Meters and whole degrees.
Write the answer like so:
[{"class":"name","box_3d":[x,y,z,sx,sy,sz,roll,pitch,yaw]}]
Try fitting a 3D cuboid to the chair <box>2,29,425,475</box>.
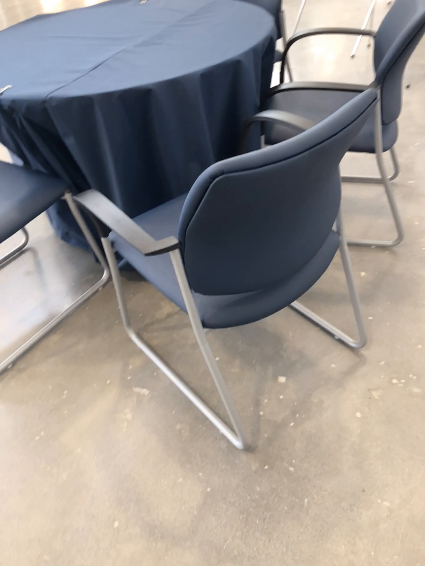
[{"class":"chair","box_3d":[0.024,-0.123,1.228,0.641,0.765,0.673,-33,48,-25]}]
